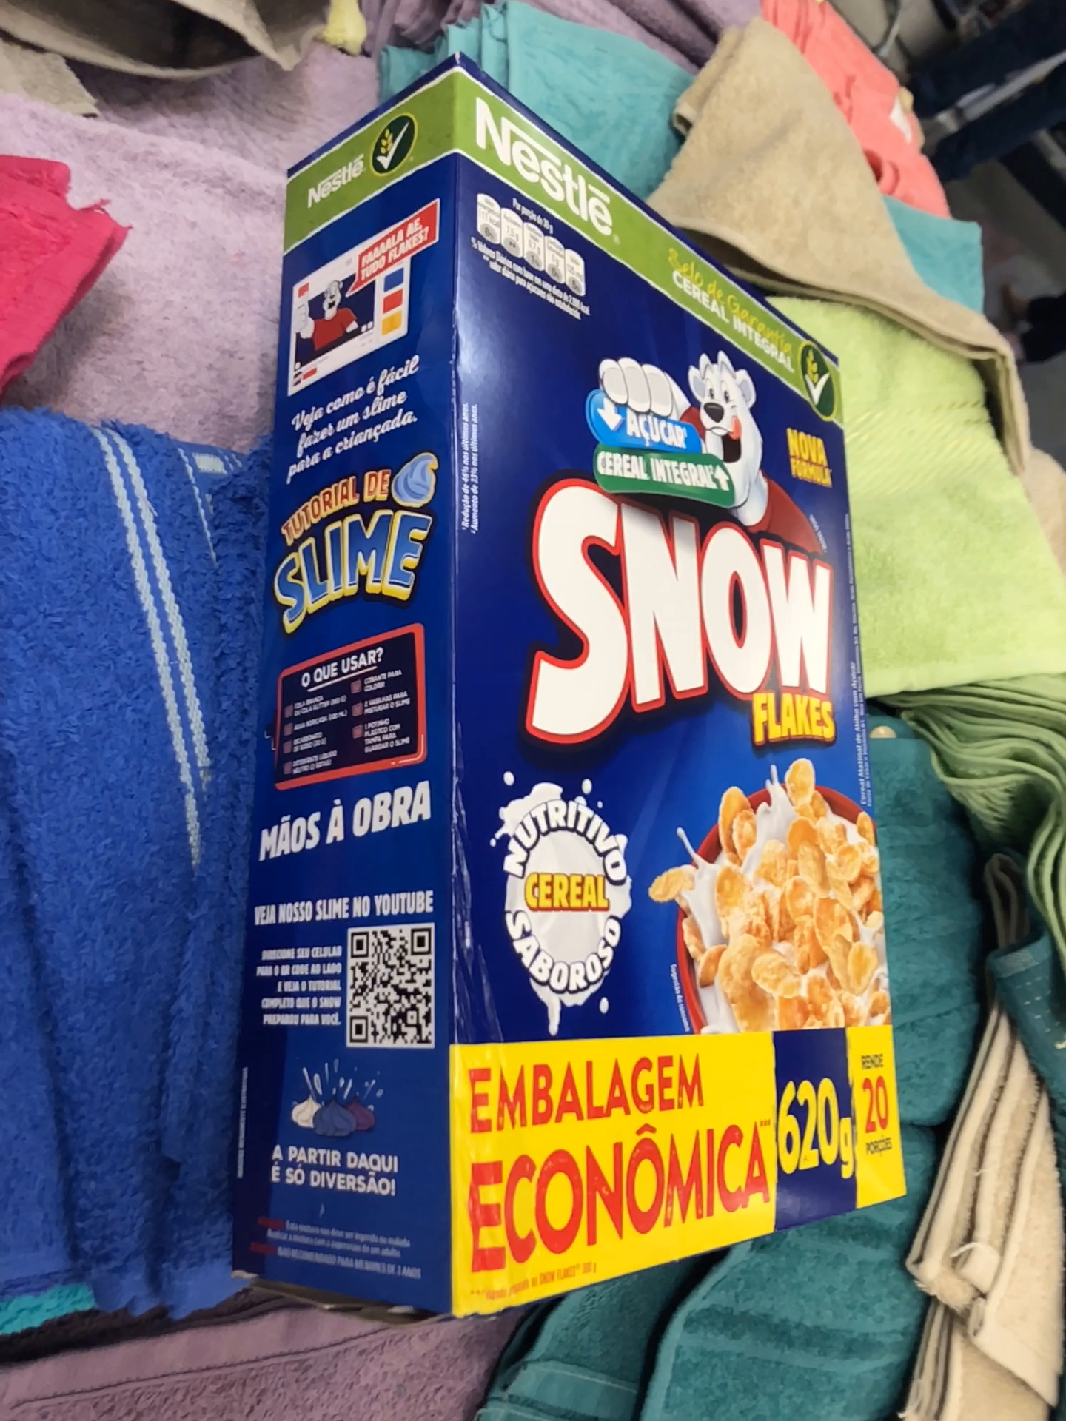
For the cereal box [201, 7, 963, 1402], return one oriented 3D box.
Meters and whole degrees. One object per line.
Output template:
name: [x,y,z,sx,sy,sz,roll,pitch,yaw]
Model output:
cereal box: [0.029,0.001,0.346,0.221,0.070,0.300,14,69,-45]
